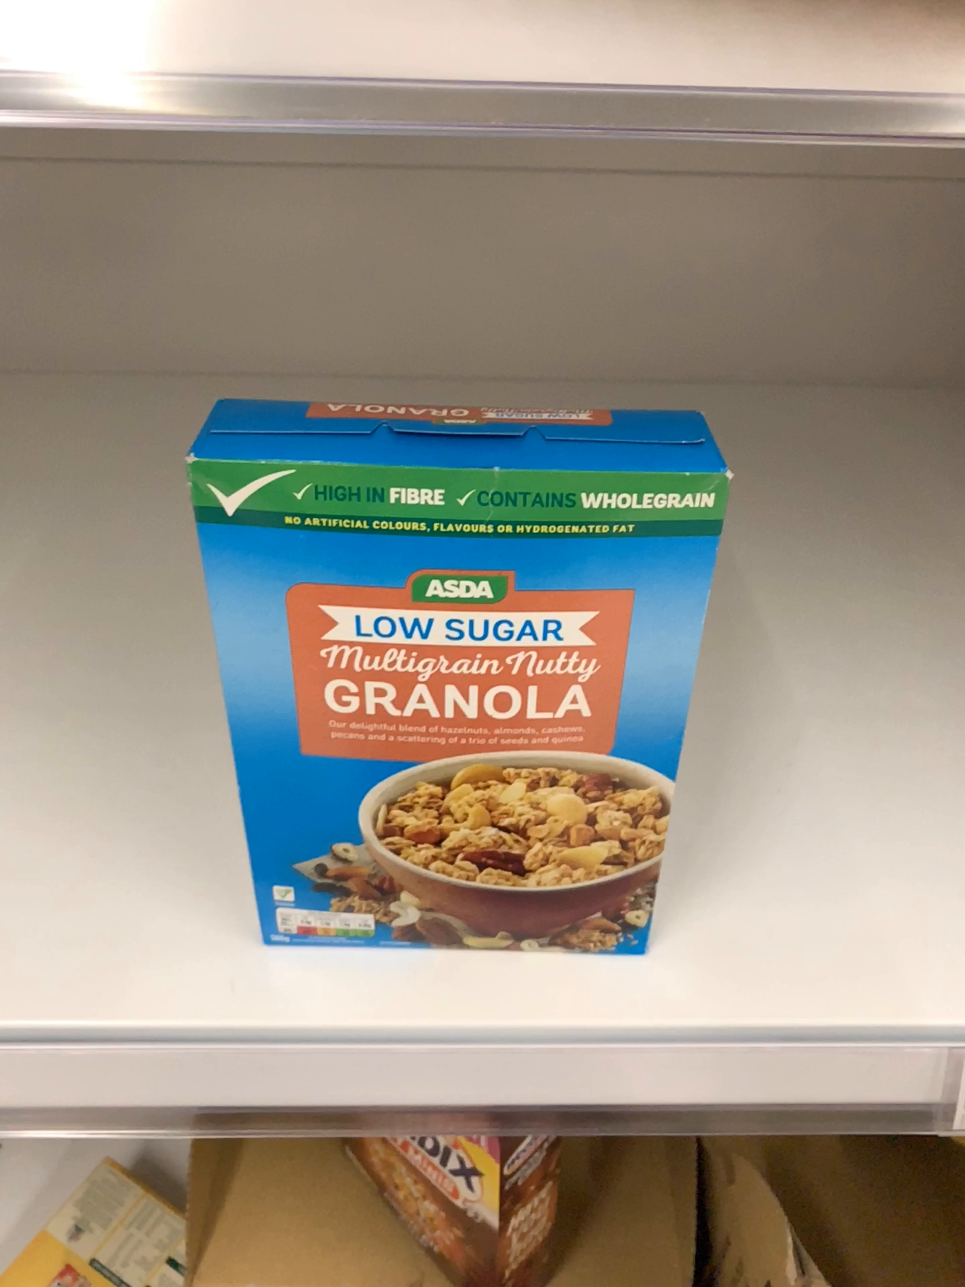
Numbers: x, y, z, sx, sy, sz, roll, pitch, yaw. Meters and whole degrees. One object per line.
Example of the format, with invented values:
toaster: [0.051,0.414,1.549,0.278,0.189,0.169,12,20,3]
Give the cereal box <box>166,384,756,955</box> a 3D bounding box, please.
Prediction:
cereal box: [-0.009,0.025,0.419,0.190,0.248,0.061,2,36,0]
